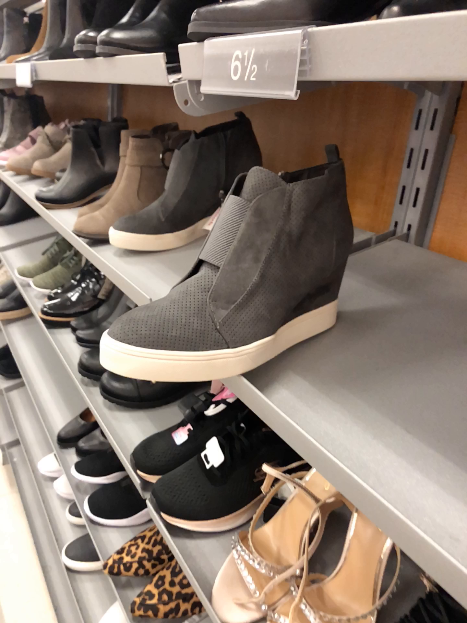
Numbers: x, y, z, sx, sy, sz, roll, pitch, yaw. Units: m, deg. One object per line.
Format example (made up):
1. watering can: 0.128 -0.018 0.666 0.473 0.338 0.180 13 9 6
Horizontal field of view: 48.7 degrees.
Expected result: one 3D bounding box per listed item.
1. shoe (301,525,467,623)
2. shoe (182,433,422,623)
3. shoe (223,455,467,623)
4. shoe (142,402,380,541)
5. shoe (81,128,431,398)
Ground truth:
1. shoe: 0.204 0.292 0.442 0.278 0.068 0.104 -11 26 -25
2. shoe: 0.076 0.222 0.558 0.250 0.085 0.084 -10 25 -28
3. shoe: 0.115 0.245 0.500 0.248 0.089 0.084 -16 29 -34
4. shoe: 0.033 0.192 0.656 0.277 0.065 0.110 -5 23 -21
5. shoe: 0.022 -0.049 0.449 0.273 0.173 0.104 -5 23 -33
